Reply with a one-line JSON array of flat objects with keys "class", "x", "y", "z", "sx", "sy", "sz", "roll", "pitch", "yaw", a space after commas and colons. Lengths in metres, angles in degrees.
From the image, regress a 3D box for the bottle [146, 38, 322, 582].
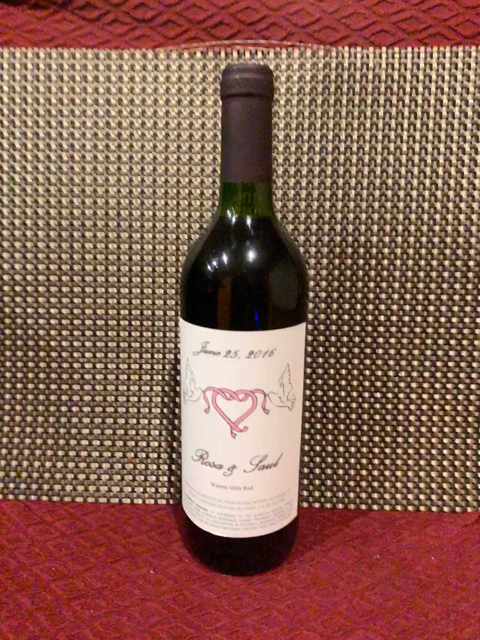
[{"class": "bottle", "x": -0.002, "y": 0.006, "z": 0.289, "sx": 0.080, "sy": 0.289, "sz": 0.060, "roll": 2, "pitch": 15, "yaw": 6}]
